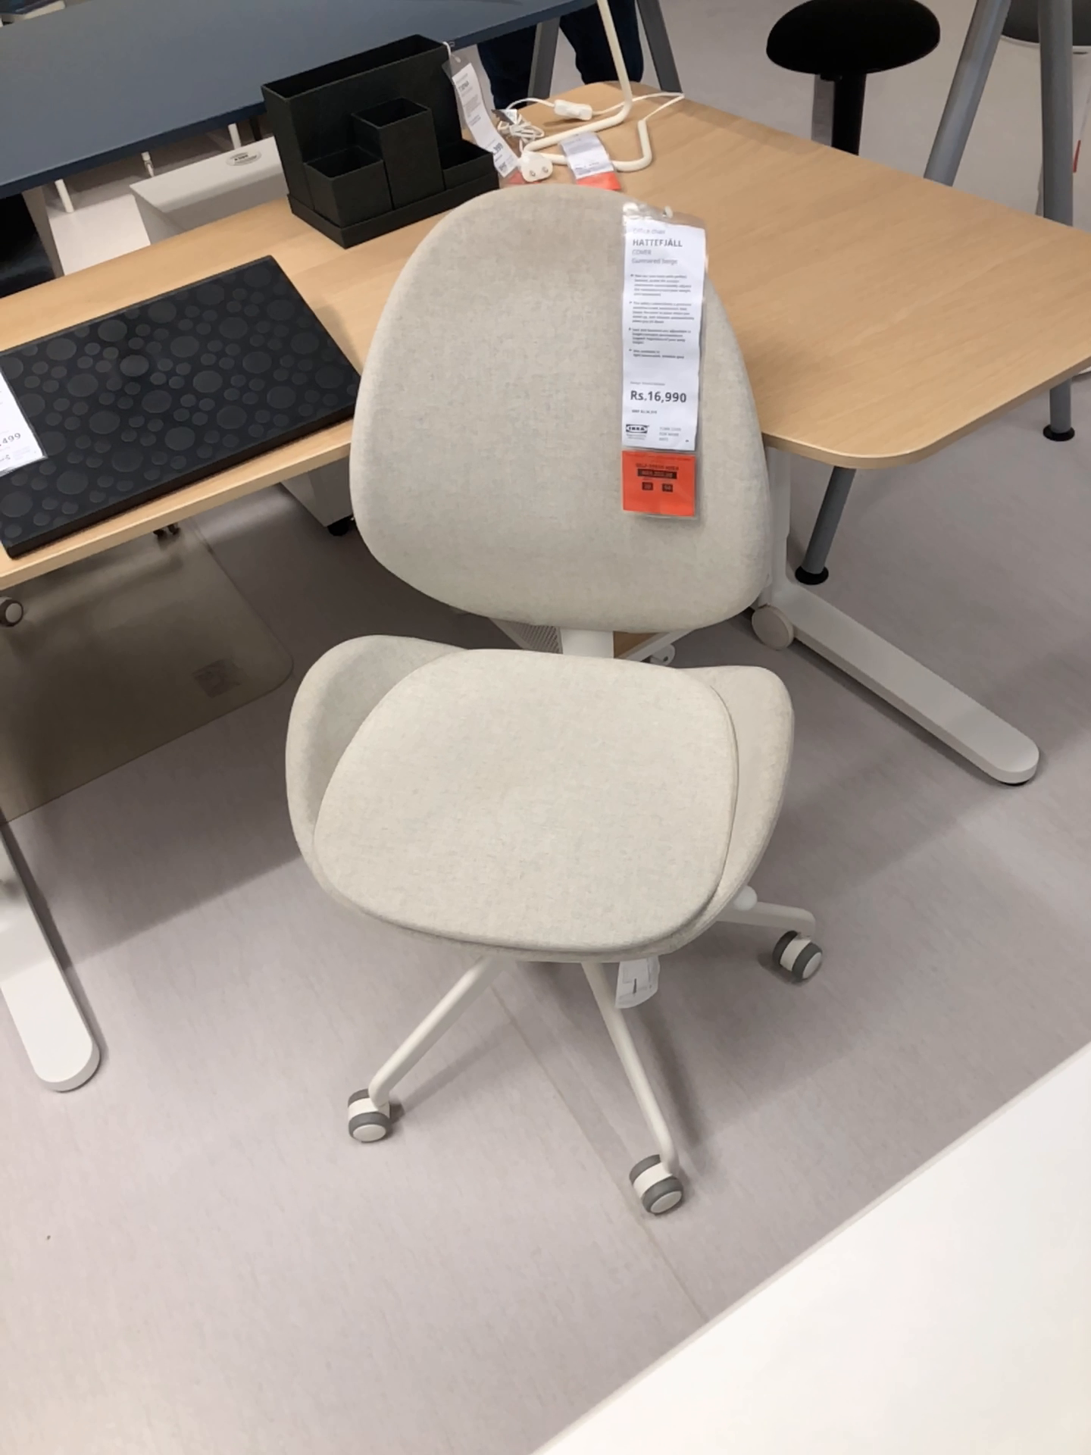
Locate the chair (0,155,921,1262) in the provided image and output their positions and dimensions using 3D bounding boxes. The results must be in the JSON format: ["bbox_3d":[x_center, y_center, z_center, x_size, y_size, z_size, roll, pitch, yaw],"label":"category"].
[{"bbox_3d":[0.011,0.022,1.310,0.661,0.994,0.624,5,47,14],"label":"chair"}]
